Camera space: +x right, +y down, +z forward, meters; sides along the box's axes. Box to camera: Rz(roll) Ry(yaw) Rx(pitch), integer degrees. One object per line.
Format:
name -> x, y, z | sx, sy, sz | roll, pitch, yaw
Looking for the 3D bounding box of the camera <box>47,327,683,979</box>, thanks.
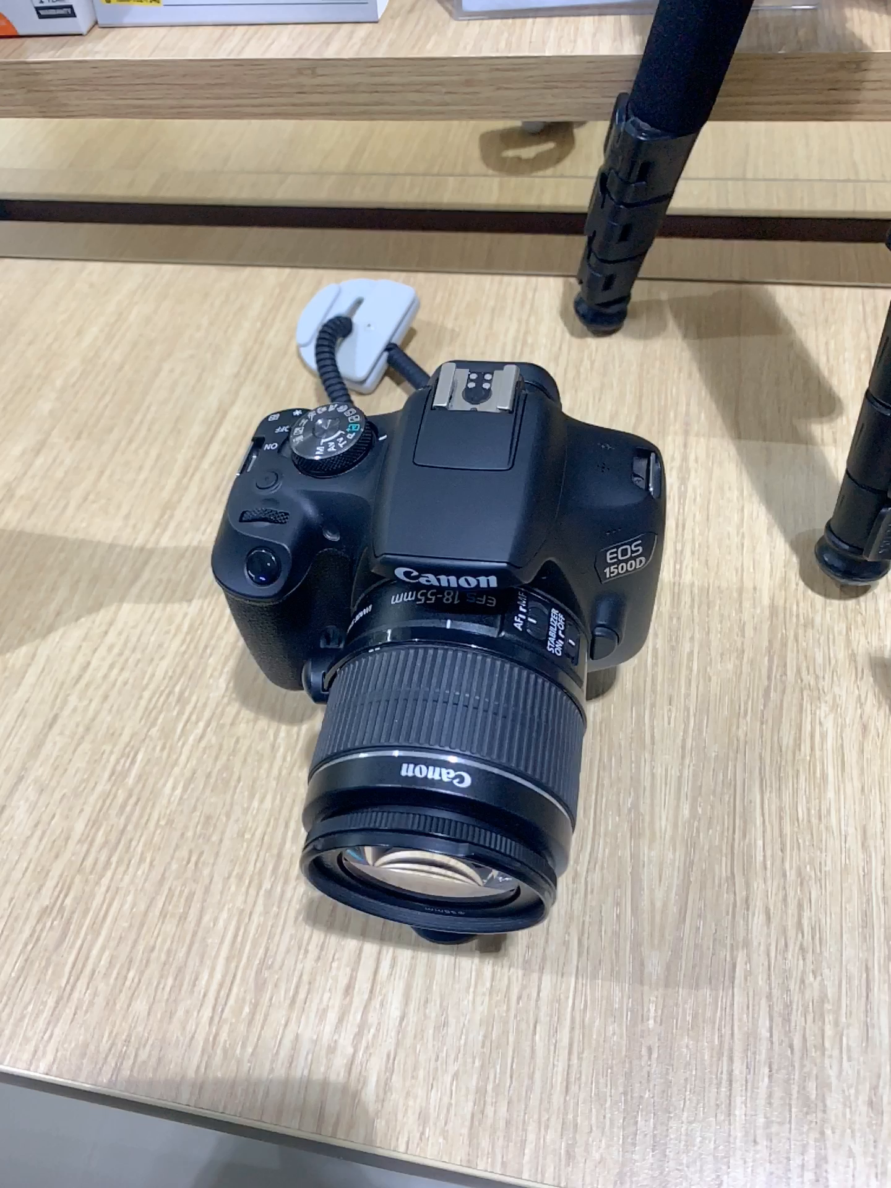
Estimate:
camera -> -0.004, 0.010, 0.248 | 0.121, 0.088, 0.140 | 4, 53, 10
